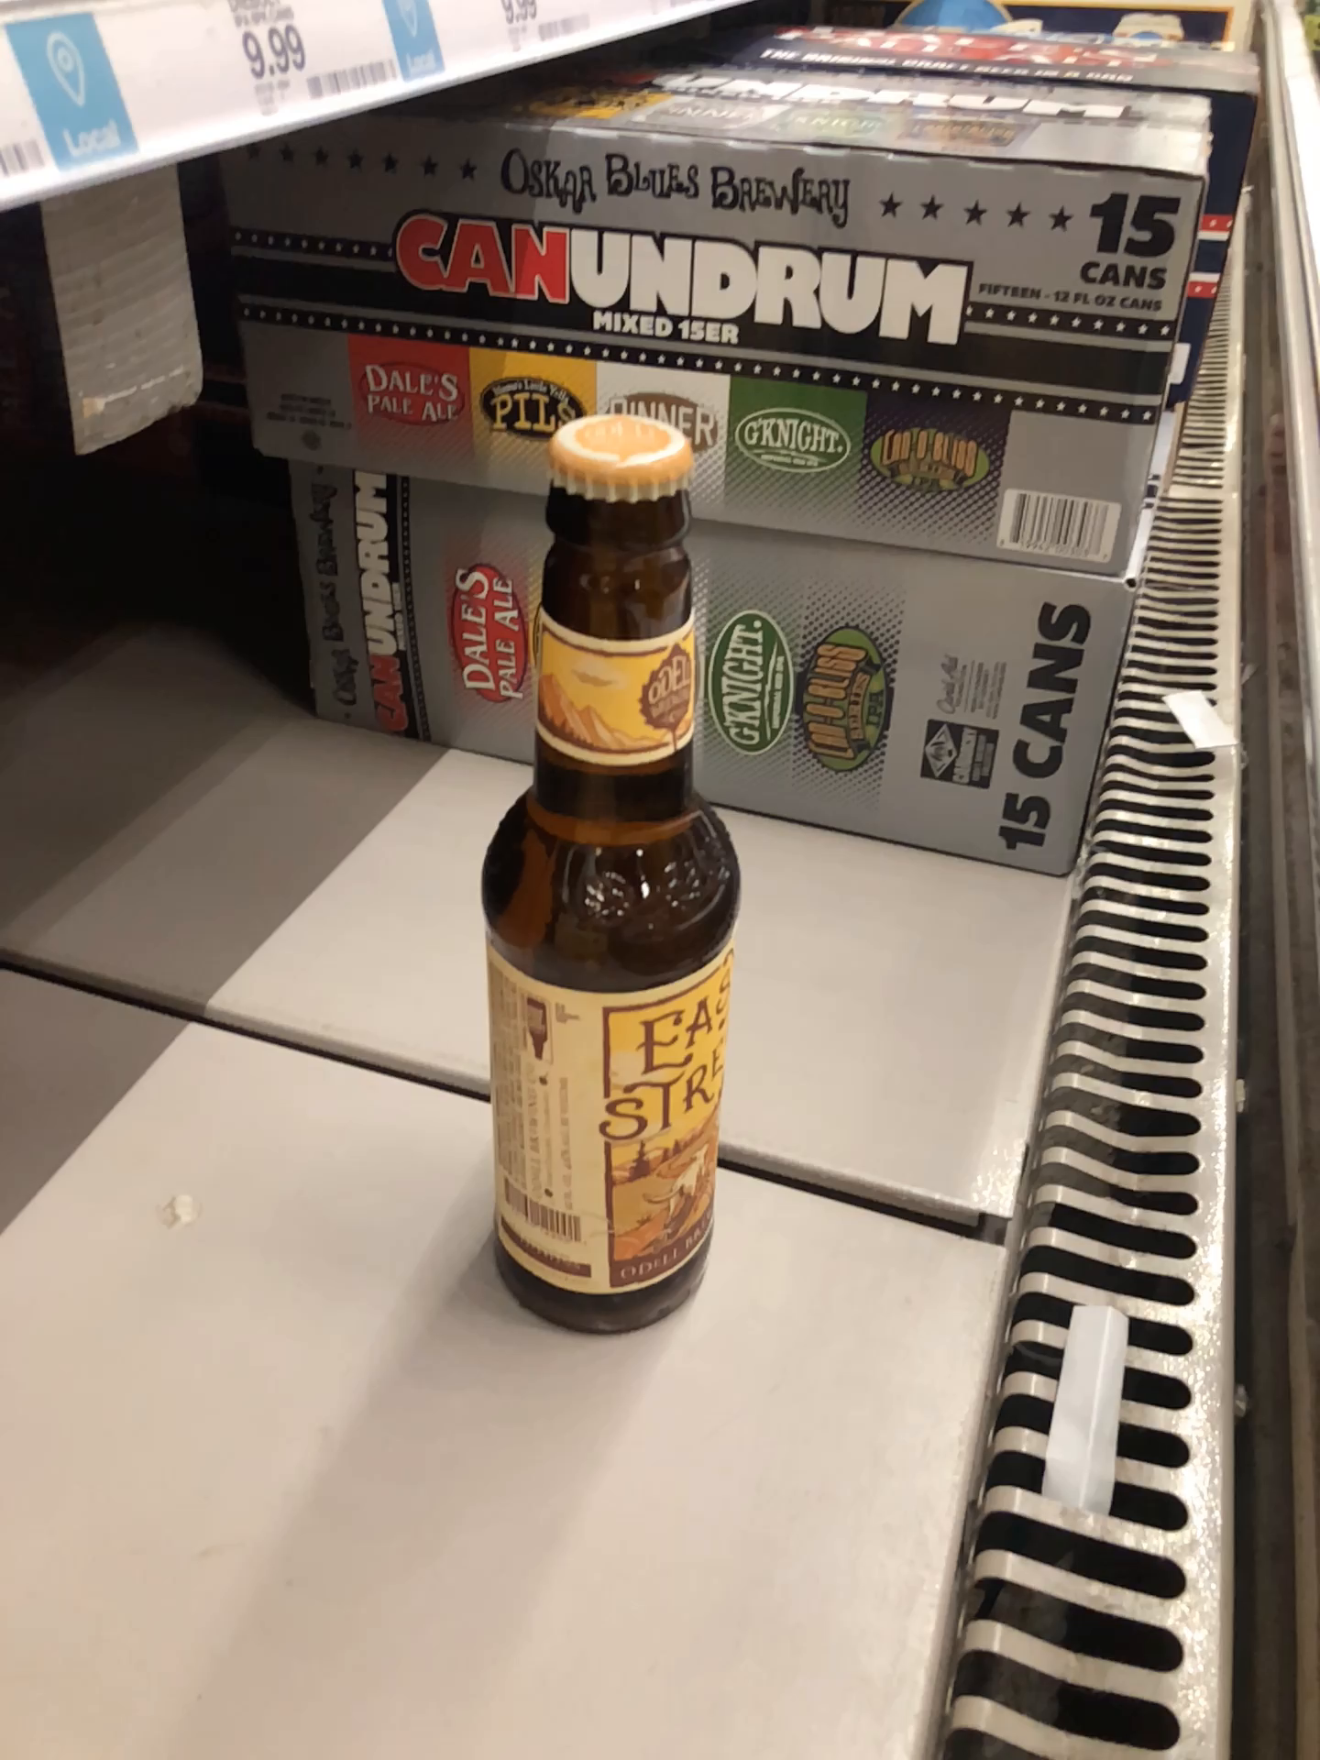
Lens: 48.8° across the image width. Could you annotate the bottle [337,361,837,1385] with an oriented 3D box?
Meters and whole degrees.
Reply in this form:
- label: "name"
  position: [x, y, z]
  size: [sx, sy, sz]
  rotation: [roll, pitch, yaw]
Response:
- label: "bottle"
  position: [-0.017, 0.008, 0.344]
  size: [0.070, 0.229, 0.066]
  rotation: [2, 35, -1]
